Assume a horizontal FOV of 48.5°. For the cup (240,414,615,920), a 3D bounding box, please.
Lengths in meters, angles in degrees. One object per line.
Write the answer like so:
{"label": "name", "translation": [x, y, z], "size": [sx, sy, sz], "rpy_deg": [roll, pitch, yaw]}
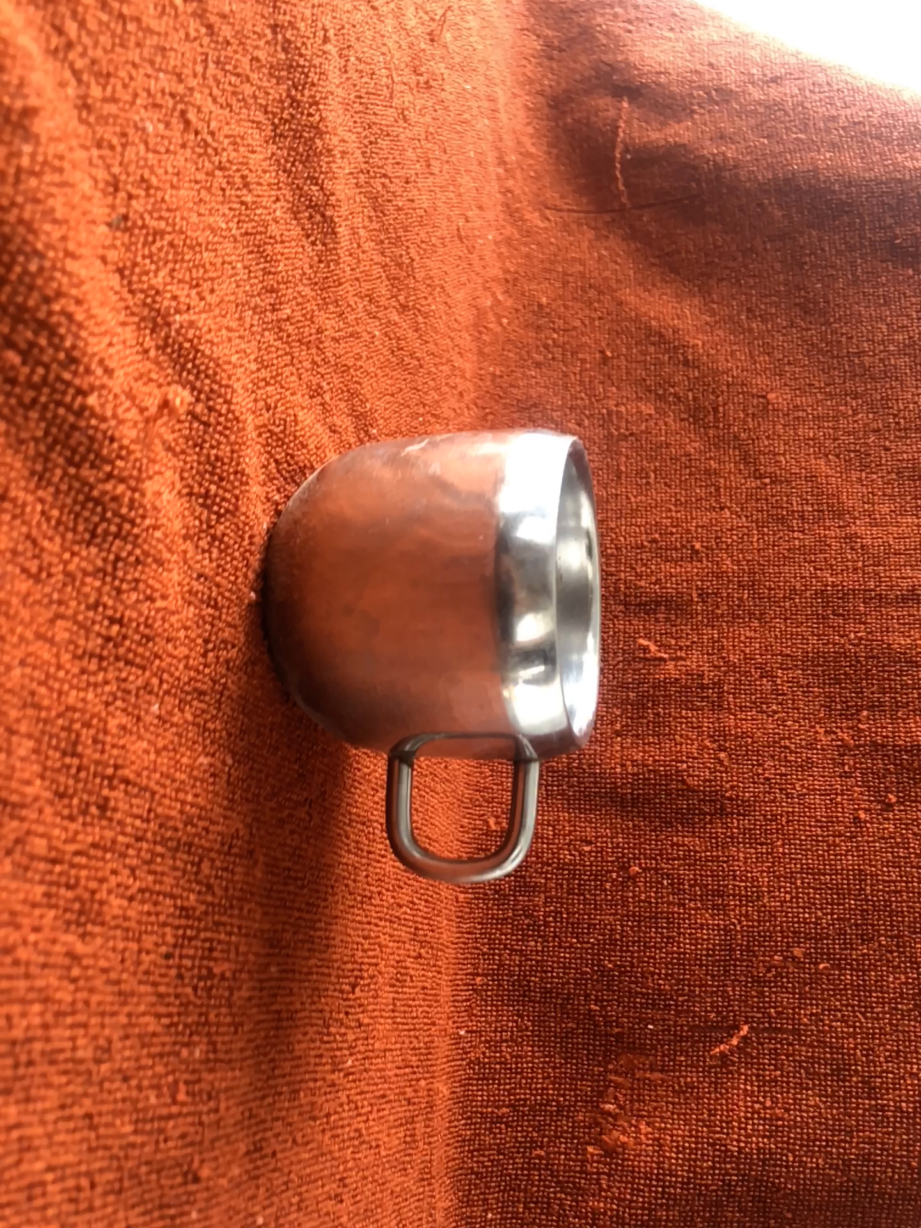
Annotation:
{"label": "cup", "translation": [-0.003, 0.009, 0.218], "size": [0.060, 0.060, 0.090], "rpy_deg": [-13, 101, -74]}
